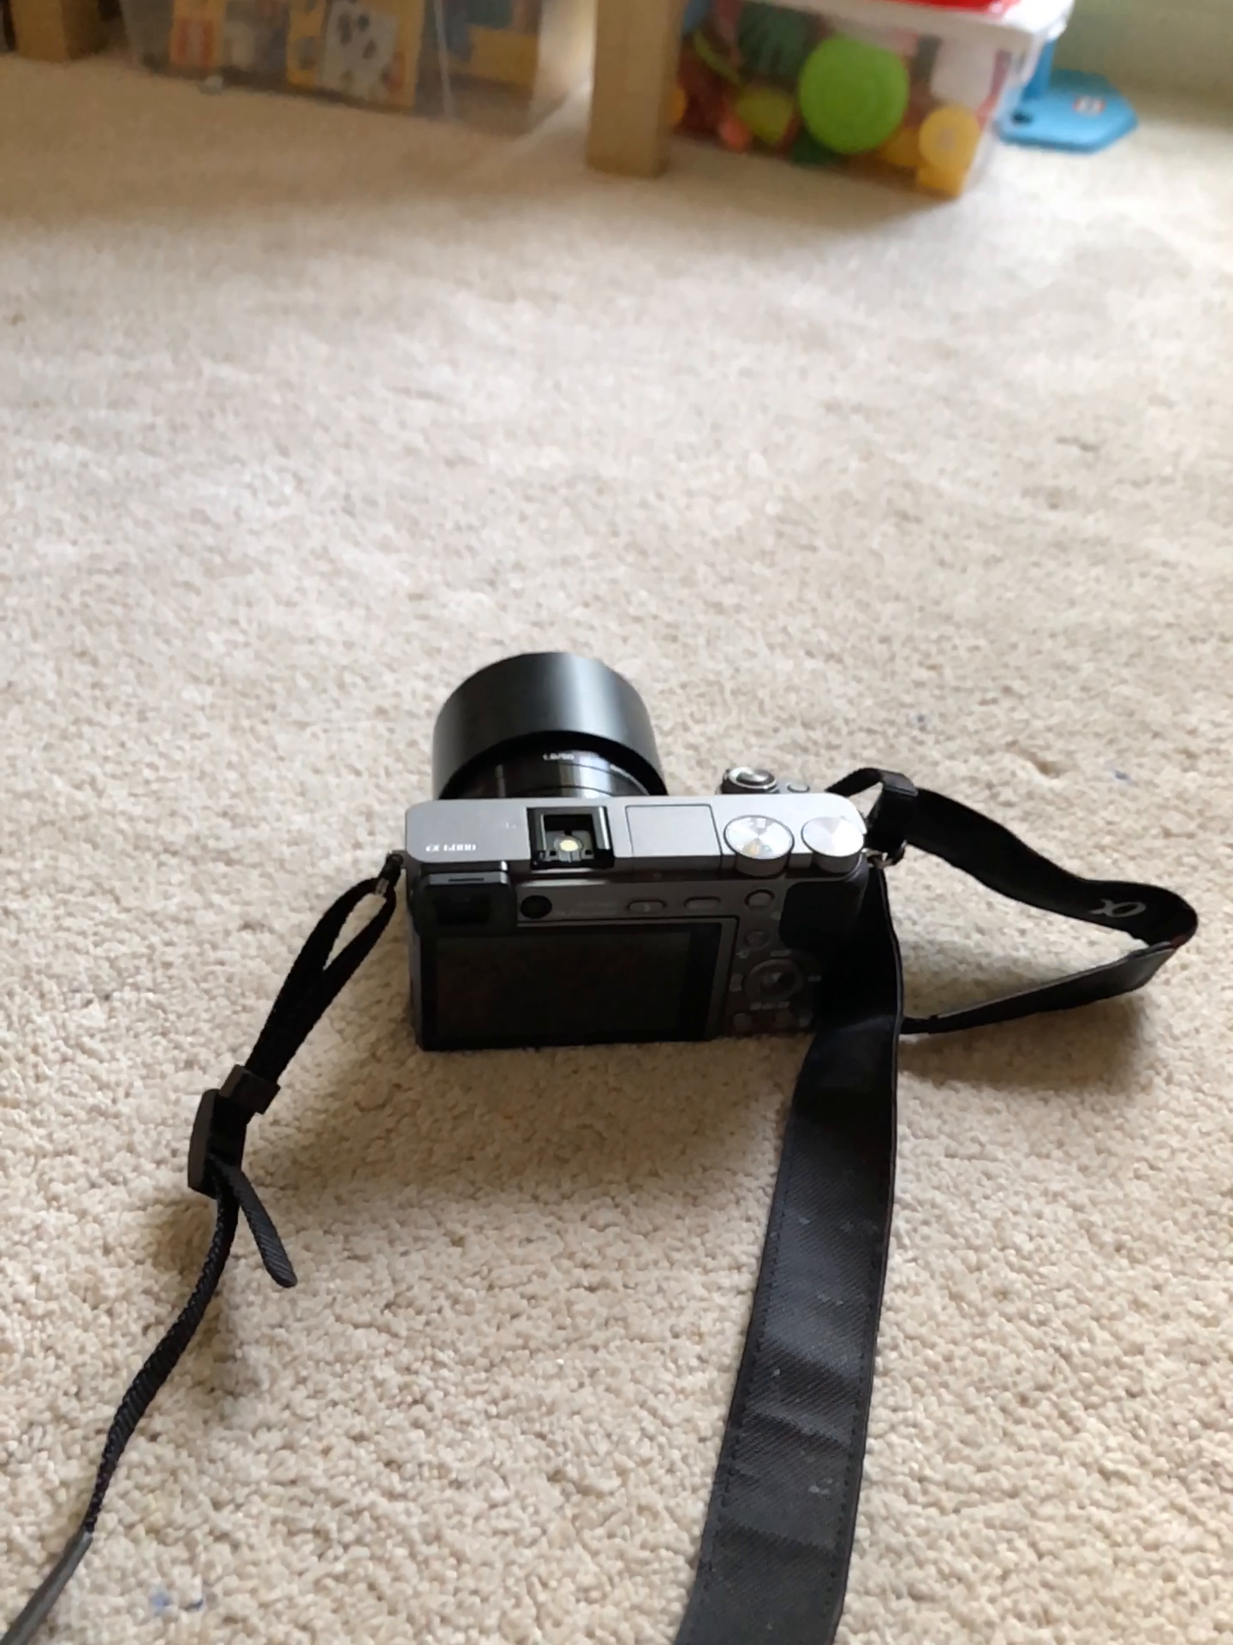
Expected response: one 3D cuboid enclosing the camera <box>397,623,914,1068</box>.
[{"bbox_3d":[0.002,0.003,0.373,0.120,0.070,0.101,-1,40,-8],"label":"camera"}]
